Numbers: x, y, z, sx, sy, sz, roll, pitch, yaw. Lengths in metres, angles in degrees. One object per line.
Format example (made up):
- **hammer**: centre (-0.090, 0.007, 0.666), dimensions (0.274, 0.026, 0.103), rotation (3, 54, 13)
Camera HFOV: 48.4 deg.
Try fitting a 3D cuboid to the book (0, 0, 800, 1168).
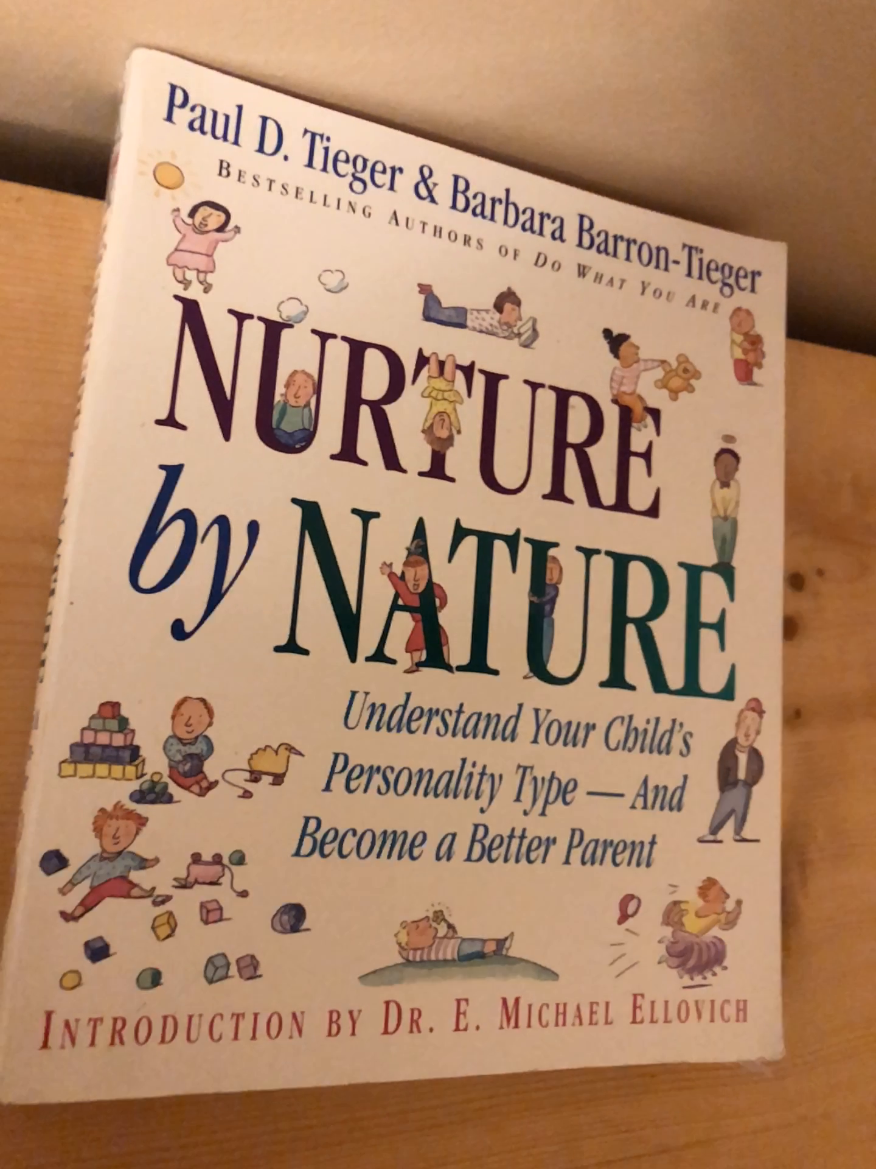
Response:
- **book**: centre (0.000, -0.001, 0.253), dimensions (0.200, 0.040, 0.250), rotation (8, 78, -22)
